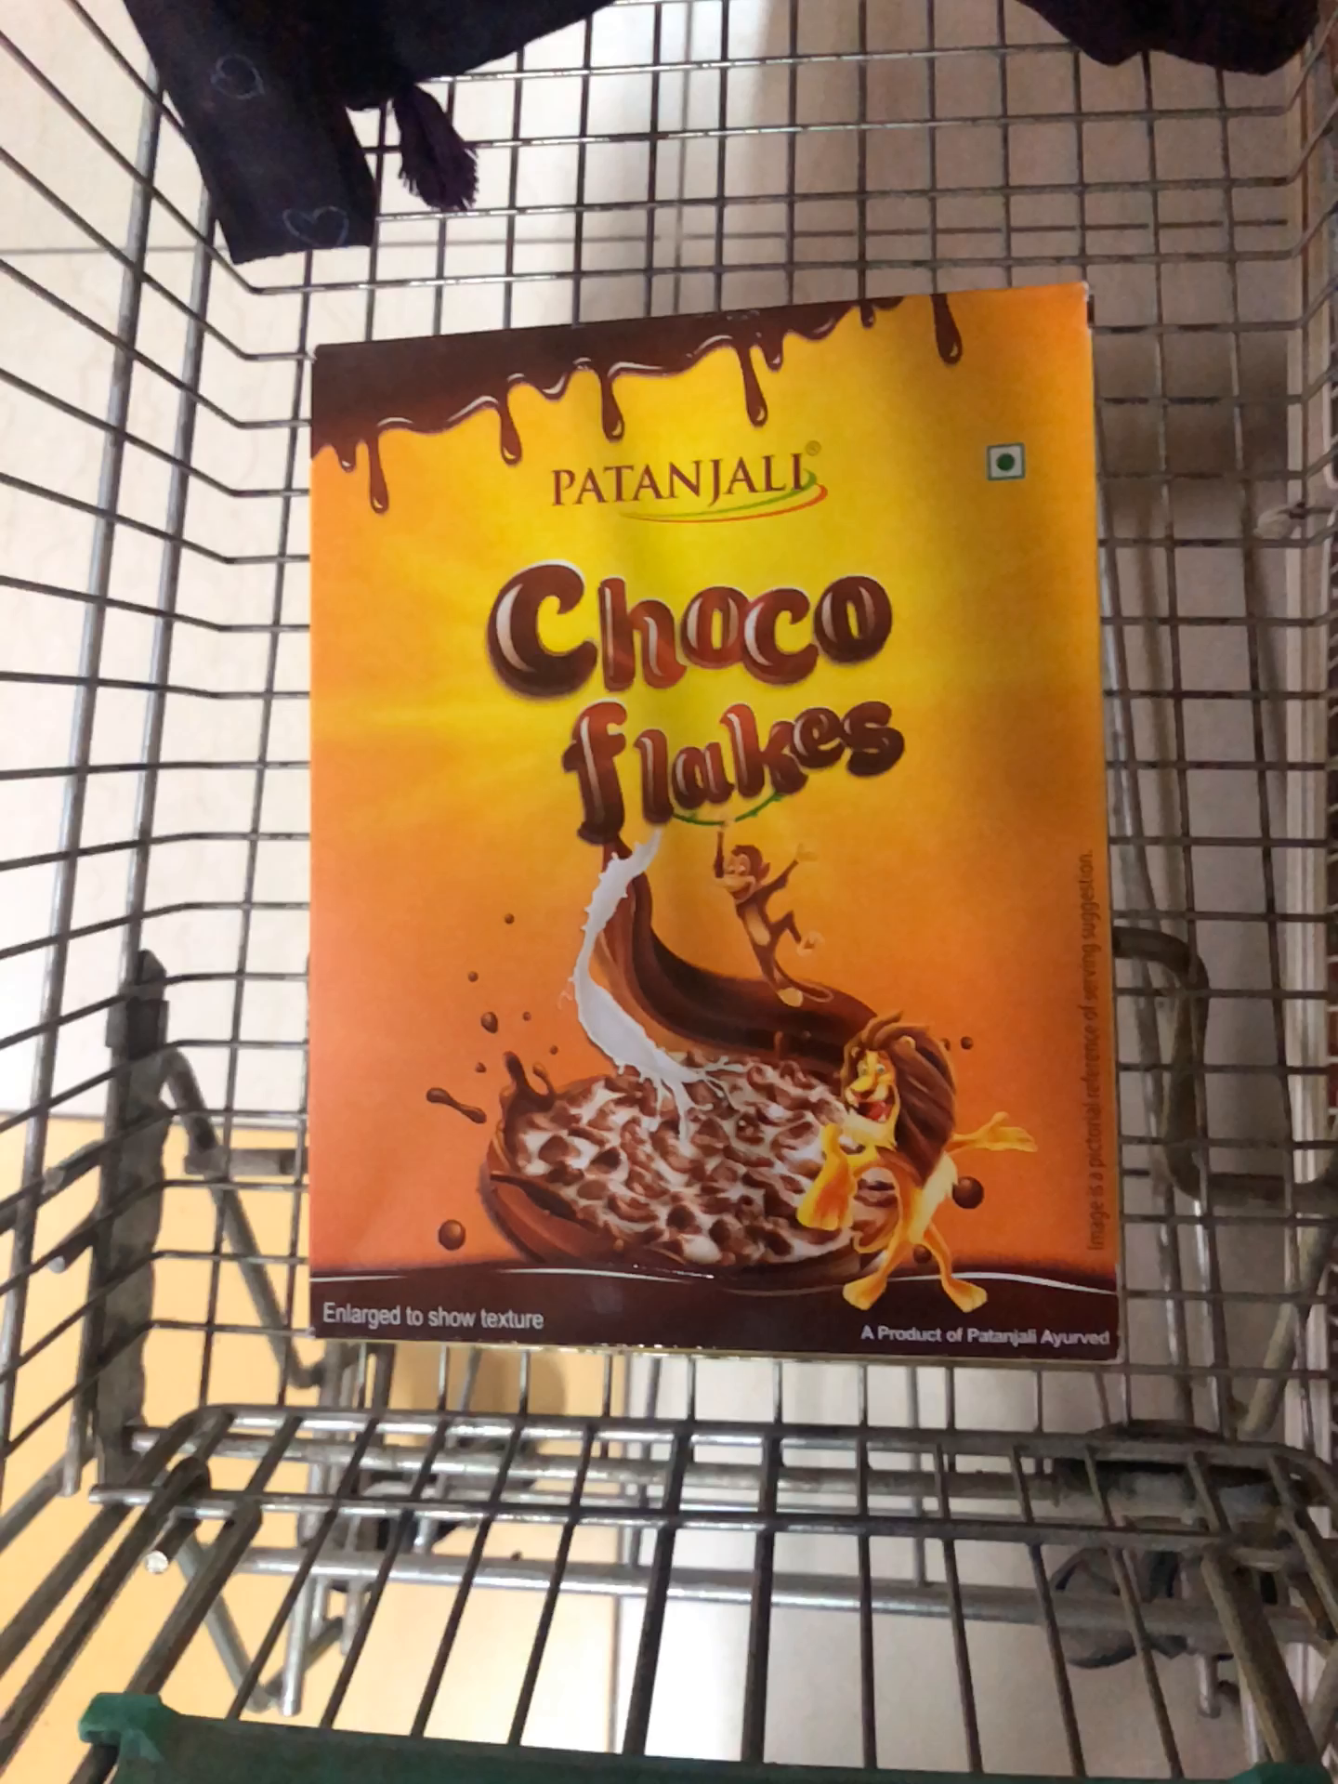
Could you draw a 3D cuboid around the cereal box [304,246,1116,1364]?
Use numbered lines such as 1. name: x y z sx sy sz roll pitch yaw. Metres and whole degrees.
1. cereal box: 0.012 -0.016 0.370 0.170 0.110 0.230 -1 86 8
